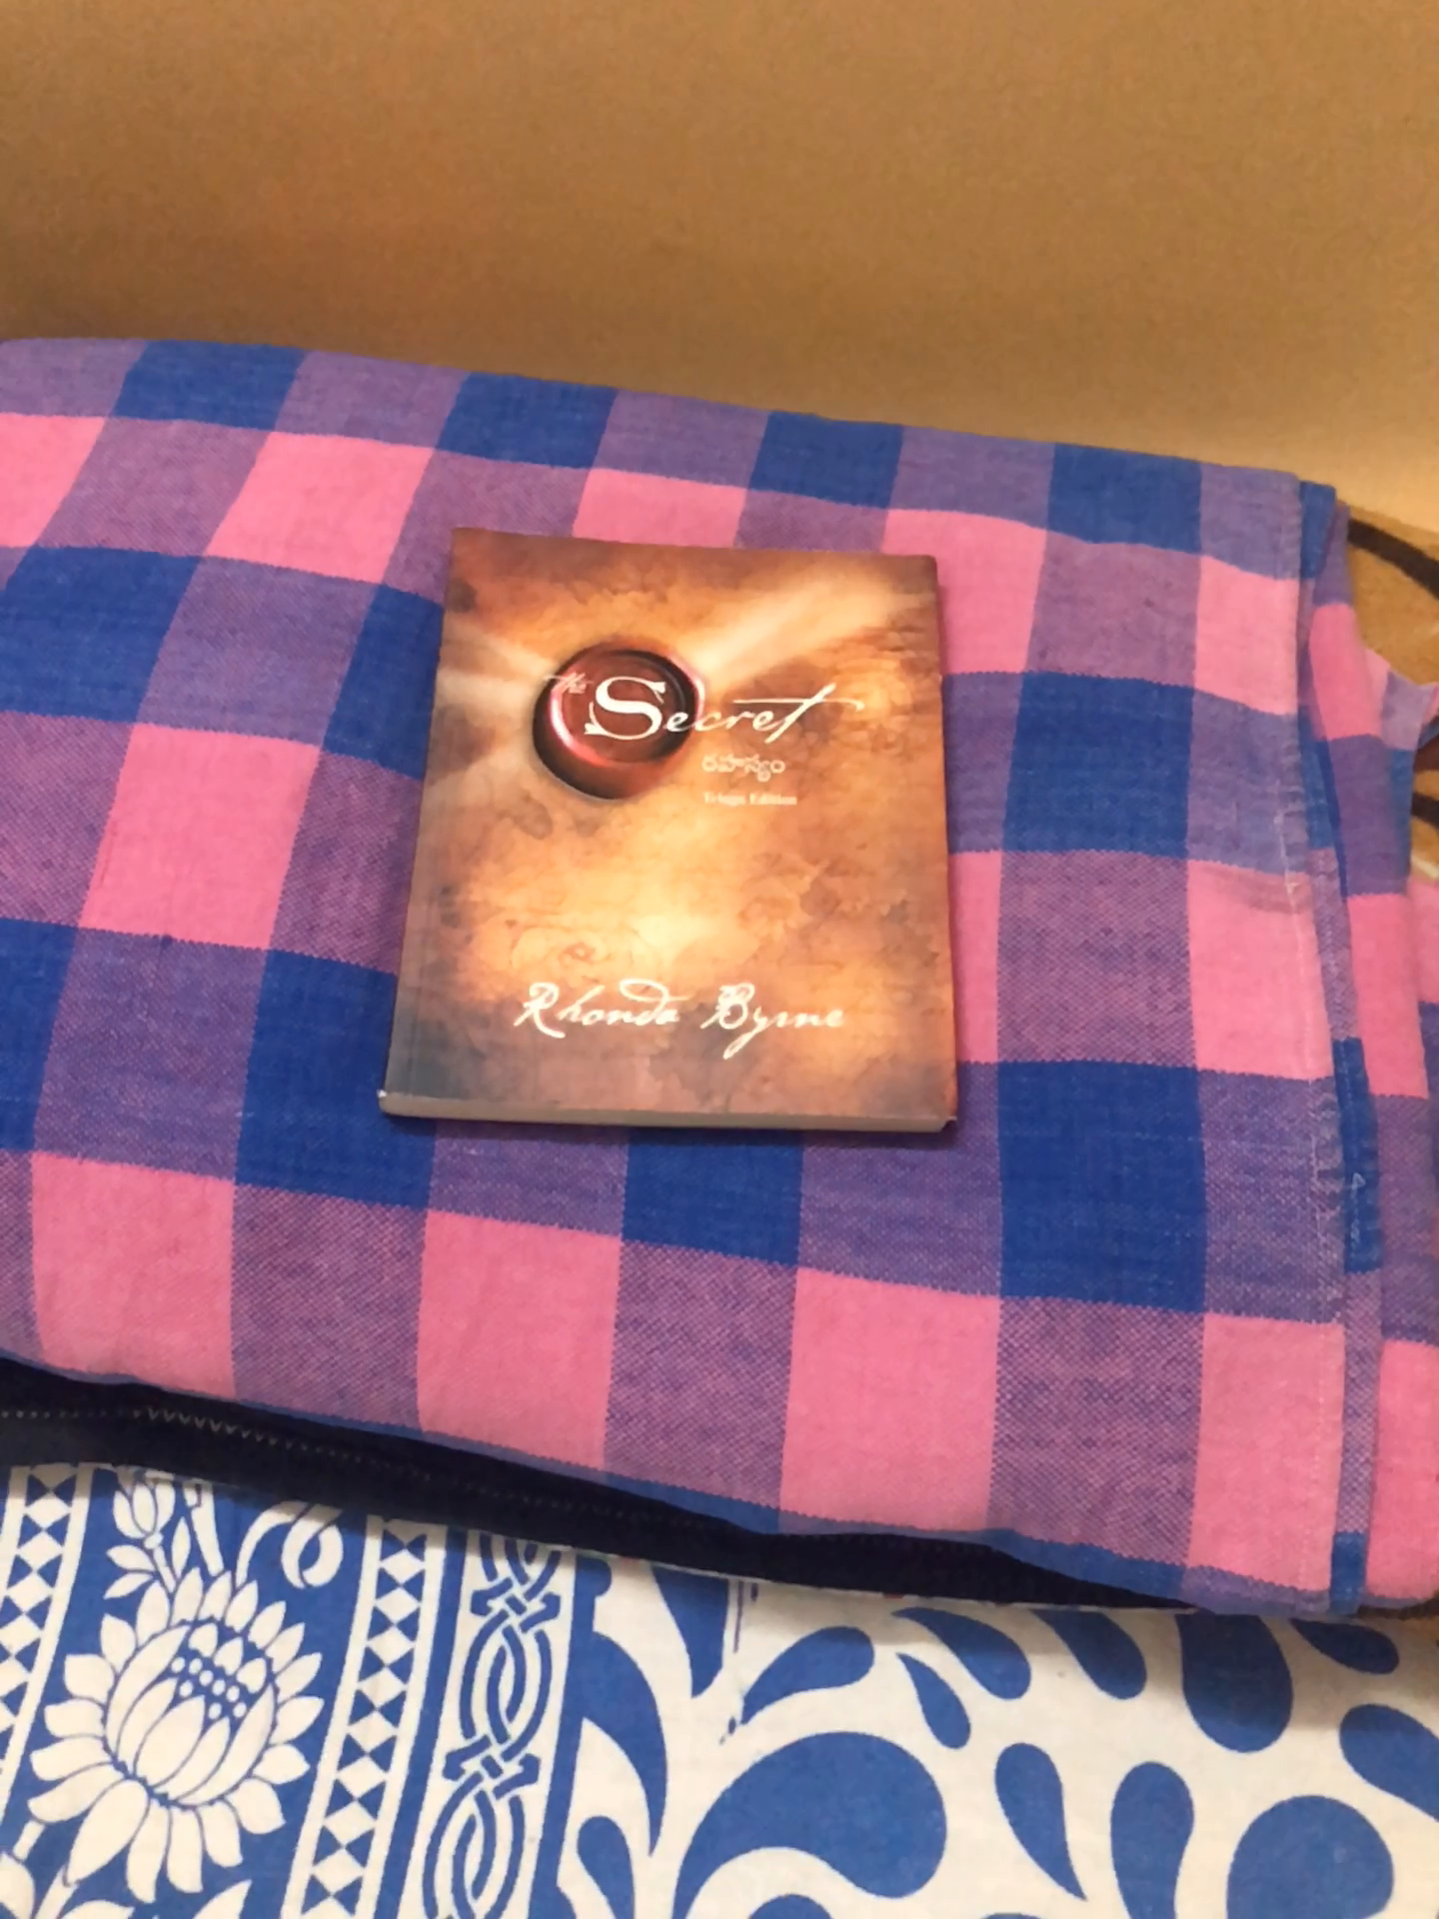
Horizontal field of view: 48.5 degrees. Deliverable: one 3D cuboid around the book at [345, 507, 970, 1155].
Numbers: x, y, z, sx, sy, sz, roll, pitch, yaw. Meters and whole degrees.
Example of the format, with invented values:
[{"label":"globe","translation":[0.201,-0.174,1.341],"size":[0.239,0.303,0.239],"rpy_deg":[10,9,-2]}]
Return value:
[{"label":"book","translation":[-0.011,-0.043,0.435],"size":[0.150,0.020,0.190],"rpy_deg":[2,63,3]}]
